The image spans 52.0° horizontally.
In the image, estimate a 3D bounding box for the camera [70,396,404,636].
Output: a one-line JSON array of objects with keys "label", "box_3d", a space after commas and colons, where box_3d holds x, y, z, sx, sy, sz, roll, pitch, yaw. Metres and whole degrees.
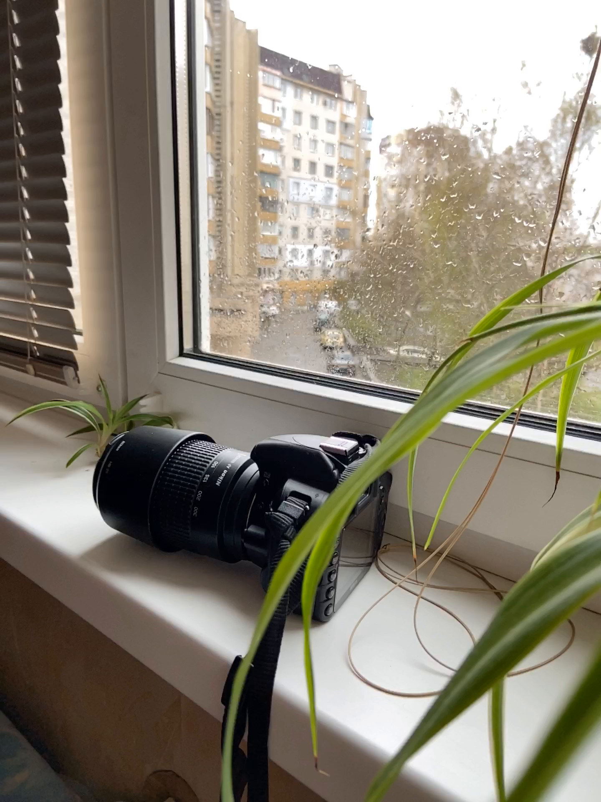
[{"label": "camera", "box_3d": [-0.040, 0.064, 0.431, 0.190, 0.089, 0.125, 8, 15, 24]}]
